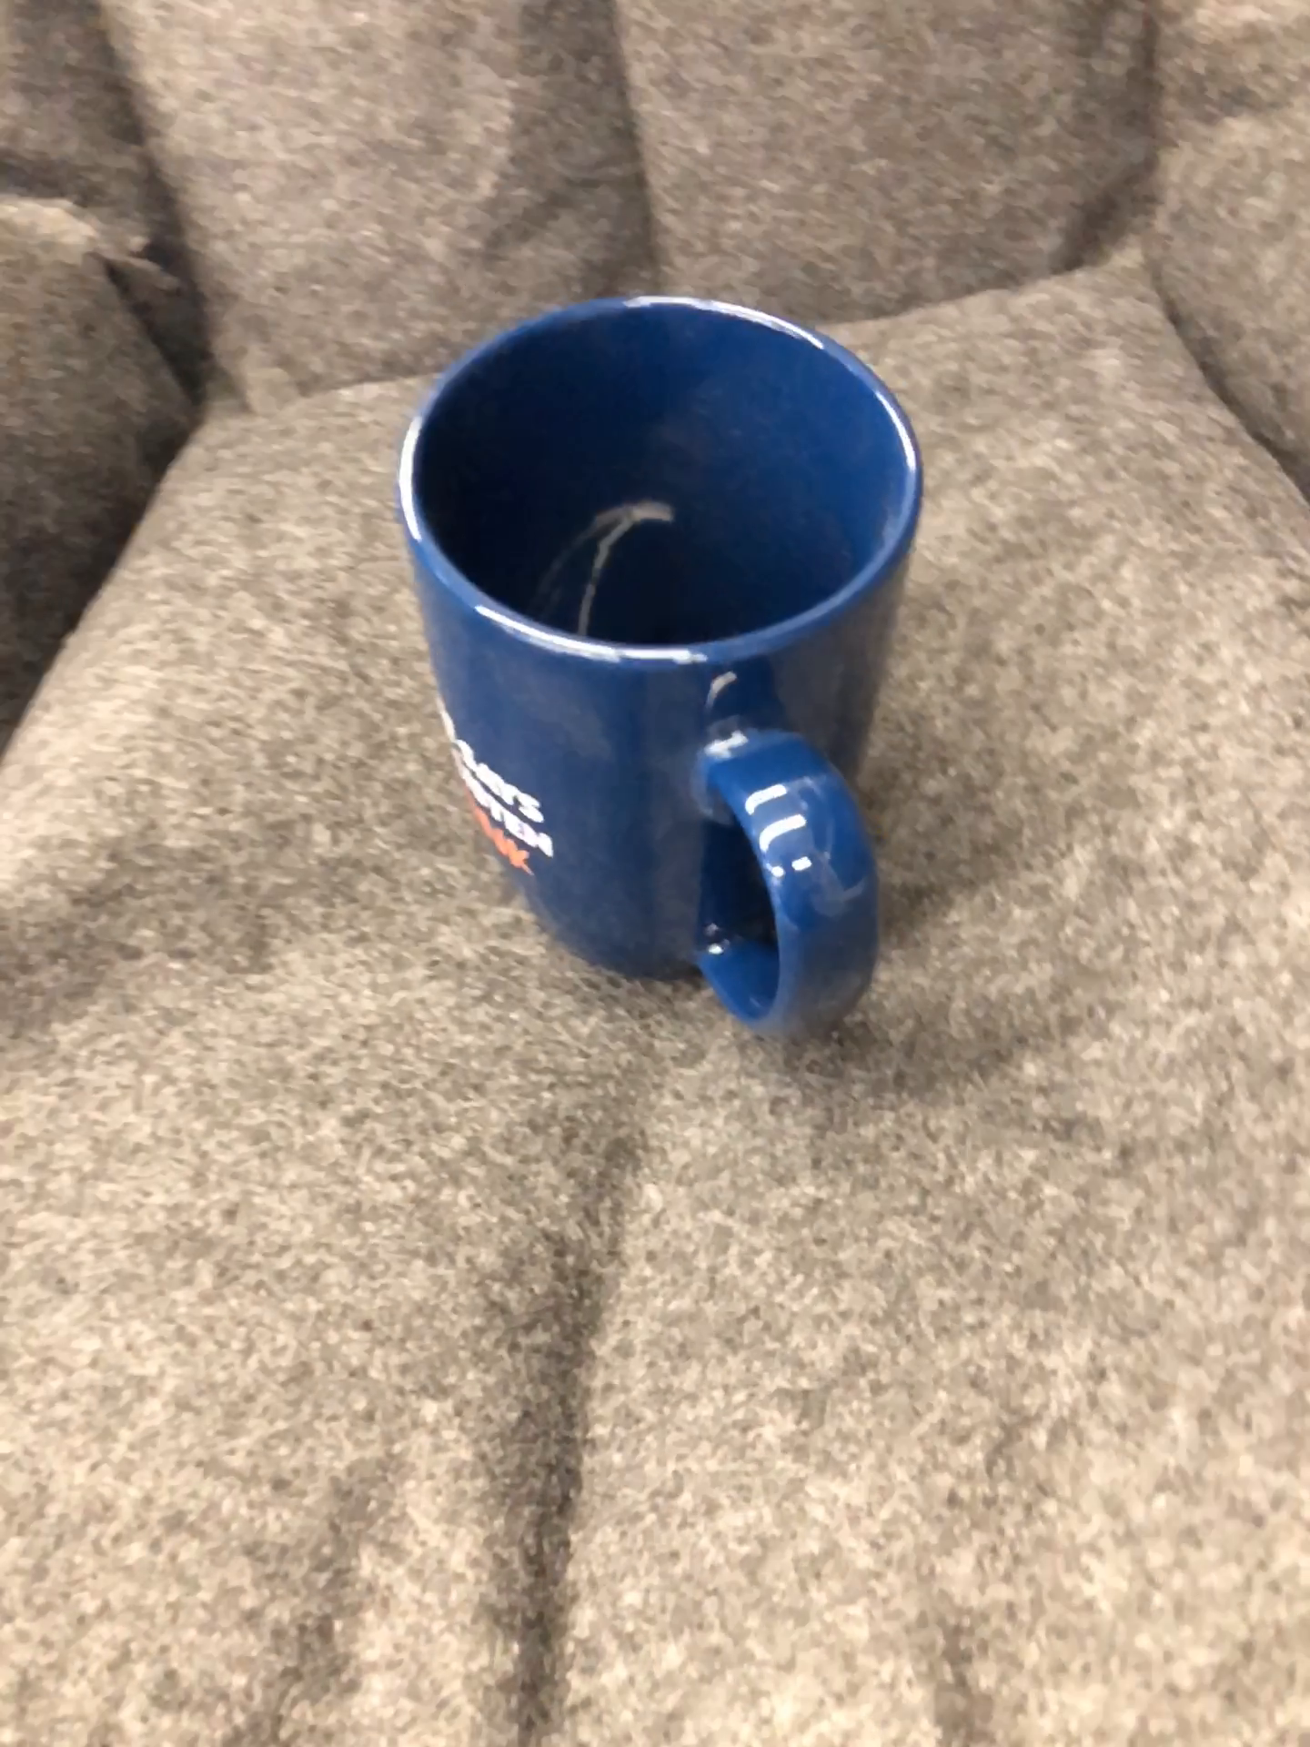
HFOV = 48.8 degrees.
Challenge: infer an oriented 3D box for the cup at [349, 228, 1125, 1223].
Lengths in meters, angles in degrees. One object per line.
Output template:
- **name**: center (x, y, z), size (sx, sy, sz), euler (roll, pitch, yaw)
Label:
- **cup**: center (0.007, -0.027, 0.271), size (0.090, 0.109, 0.131), euler (-13, 54, -5)
